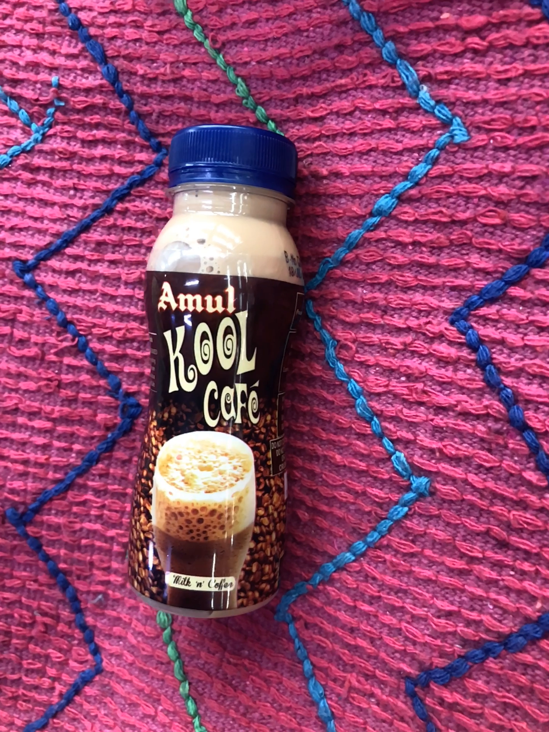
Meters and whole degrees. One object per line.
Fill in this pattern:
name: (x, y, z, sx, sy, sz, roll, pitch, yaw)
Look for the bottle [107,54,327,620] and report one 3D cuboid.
bottle: (-0.019, -0.006, 0.197, 0.050, 0.060, 0.150, 4, 92, -7)
